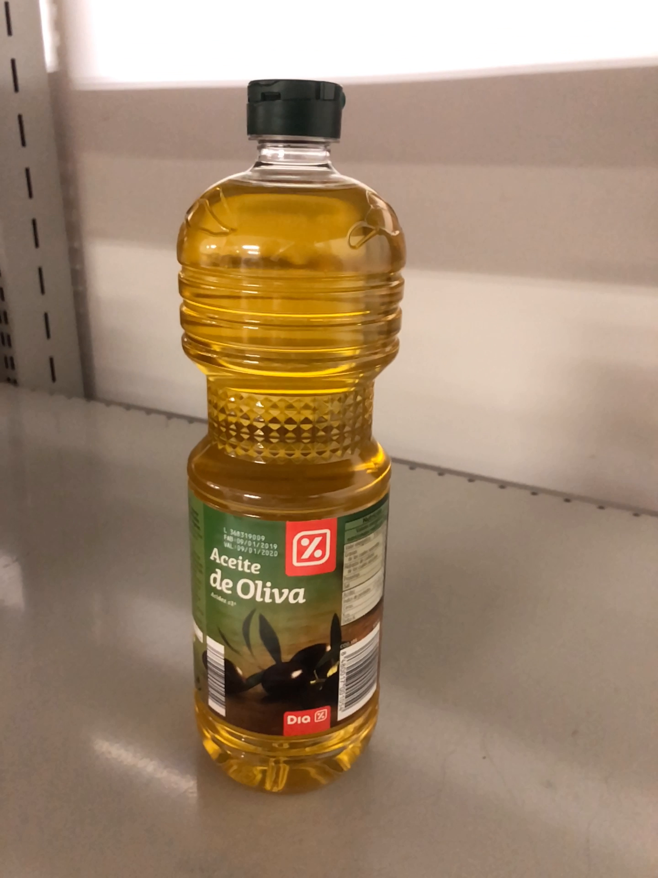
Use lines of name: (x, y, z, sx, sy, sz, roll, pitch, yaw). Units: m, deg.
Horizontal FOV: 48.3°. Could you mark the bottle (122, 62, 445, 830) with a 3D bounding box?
bottle: (-0.012, 0.013, 0.253, 0.080, 0.248, 0.060, 5, 22, 6)
